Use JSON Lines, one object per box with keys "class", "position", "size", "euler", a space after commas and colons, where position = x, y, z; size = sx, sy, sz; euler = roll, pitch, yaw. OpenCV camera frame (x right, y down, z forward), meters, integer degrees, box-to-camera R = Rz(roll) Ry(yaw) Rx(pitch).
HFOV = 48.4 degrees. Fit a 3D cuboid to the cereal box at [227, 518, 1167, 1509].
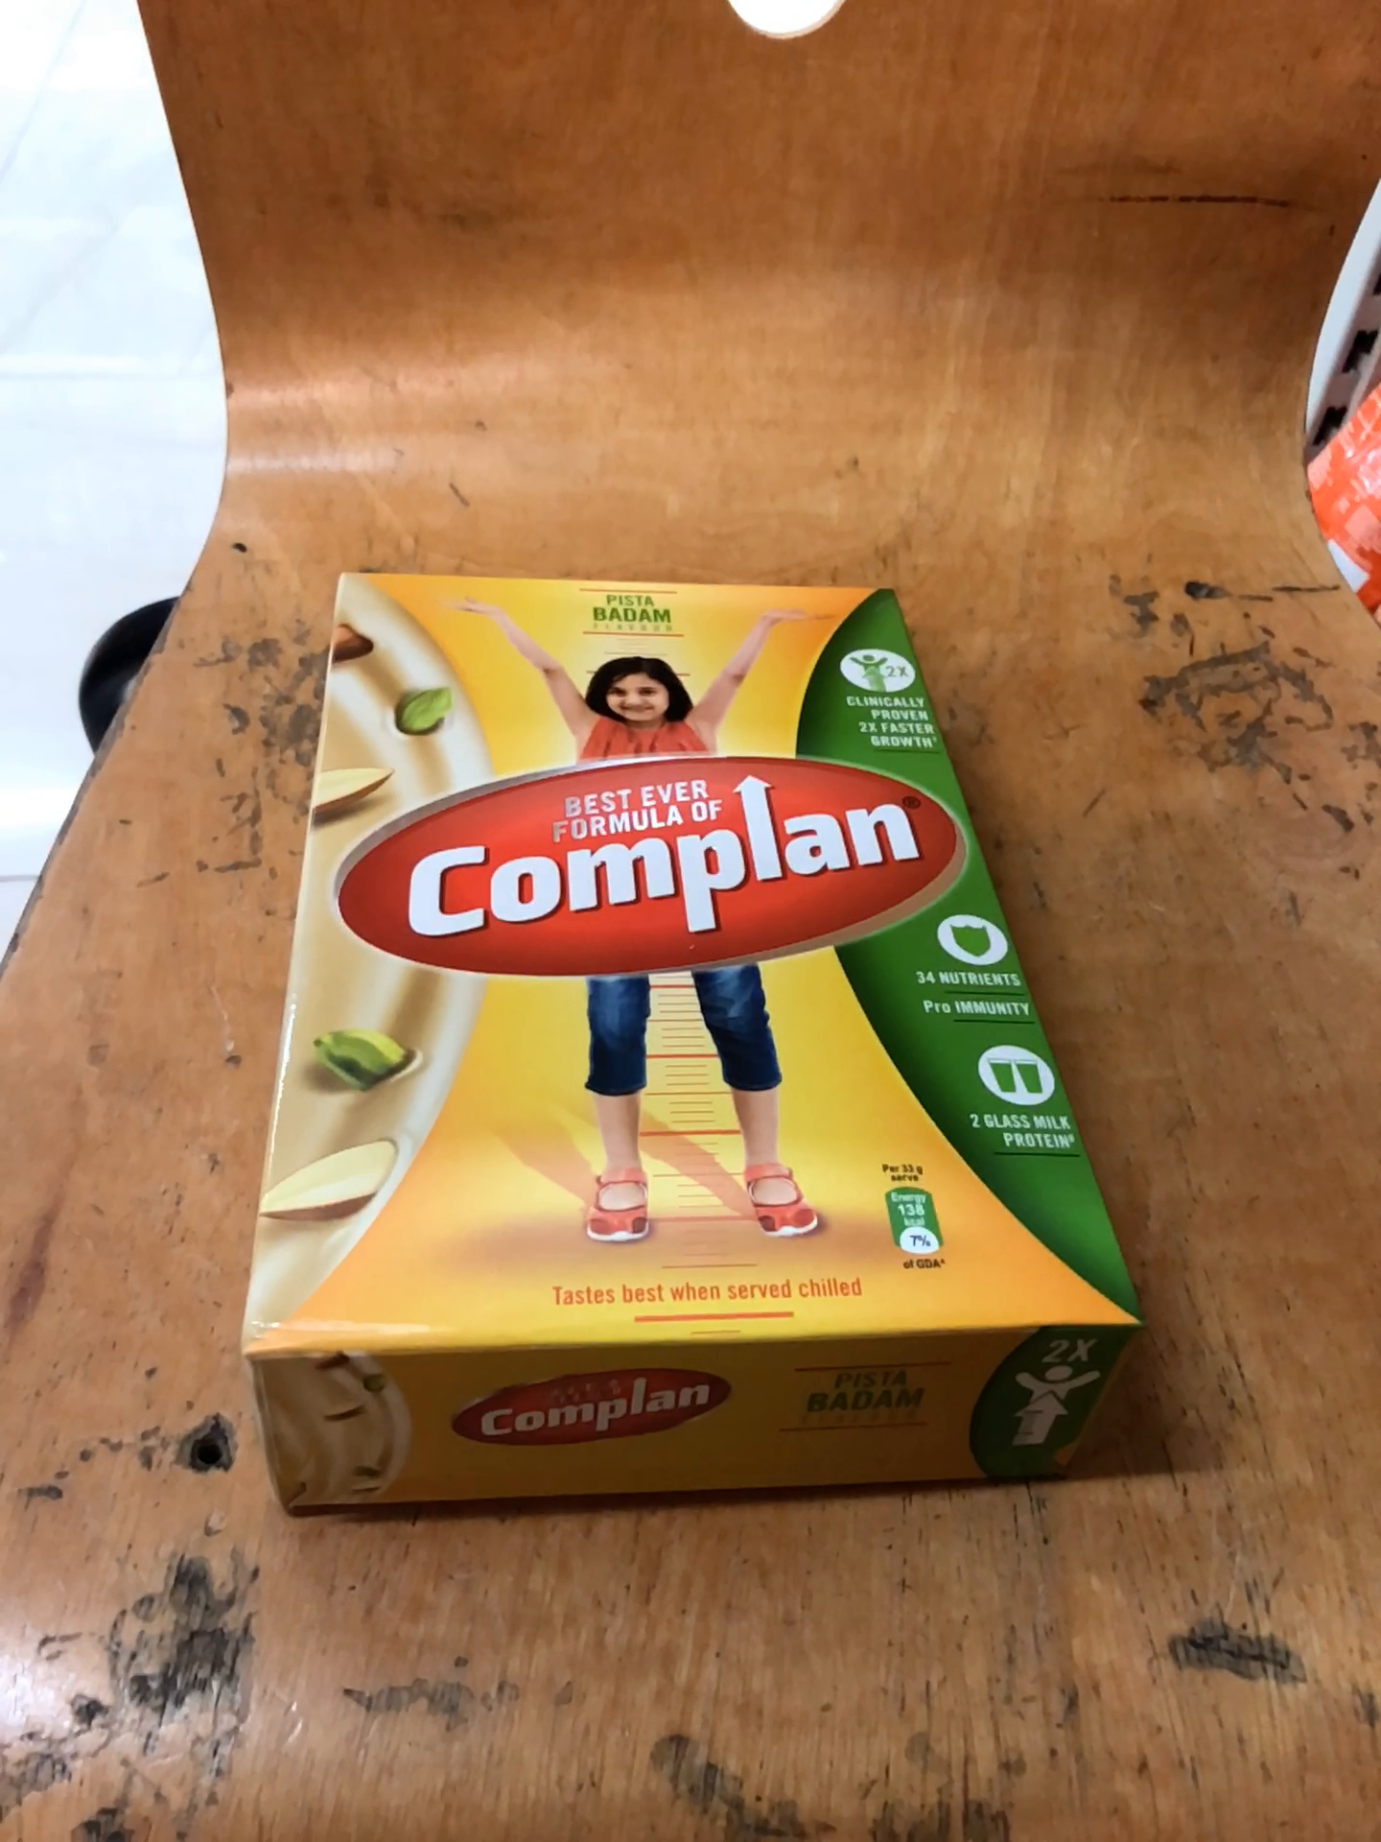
{"class": "cereal box", "position": [-0.011, 0.001, 0.320], "size": [0.140, 0.050, 0.221], "euler": [1, 45, -10]}
